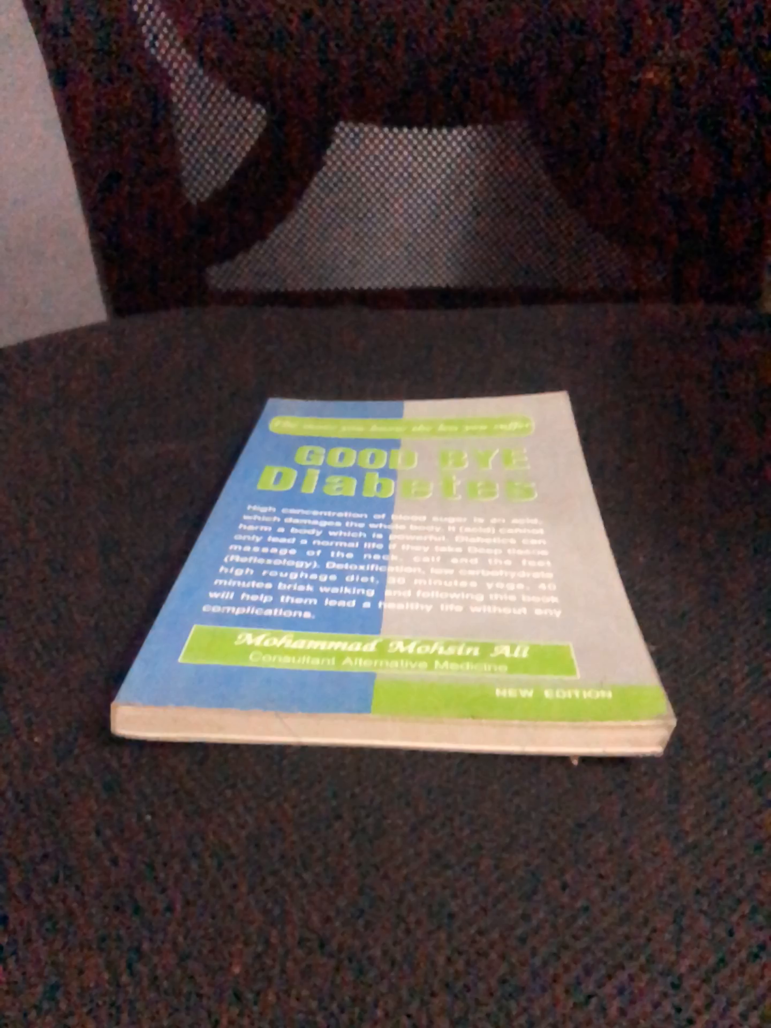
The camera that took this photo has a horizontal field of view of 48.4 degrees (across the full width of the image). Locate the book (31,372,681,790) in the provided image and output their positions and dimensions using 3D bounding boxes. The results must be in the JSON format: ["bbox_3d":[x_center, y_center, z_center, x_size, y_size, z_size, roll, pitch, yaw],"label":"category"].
[{"bbox_3d":[-0.002,-0.001,0.303,0.150,0.020,0.231,1,29,3],"label":"book"}]
